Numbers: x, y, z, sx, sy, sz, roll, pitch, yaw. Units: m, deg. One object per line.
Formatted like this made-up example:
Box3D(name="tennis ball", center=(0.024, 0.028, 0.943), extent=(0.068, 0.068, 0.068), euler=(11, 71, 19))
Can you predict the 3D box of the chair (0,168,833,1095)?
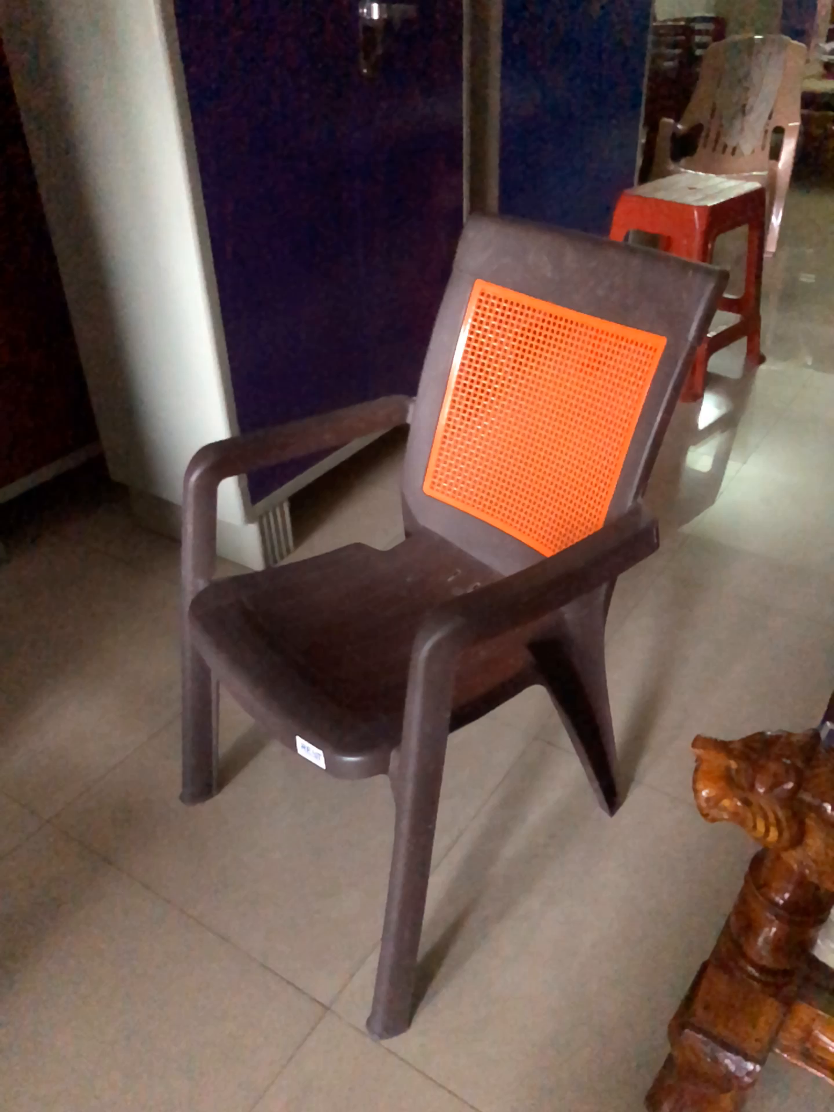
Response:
Box3D(name="chair", center=(-0.003, 0.032, 1.351), extent=(0.713, 0.935, 0.711), euler=(-27, 41, -31))
